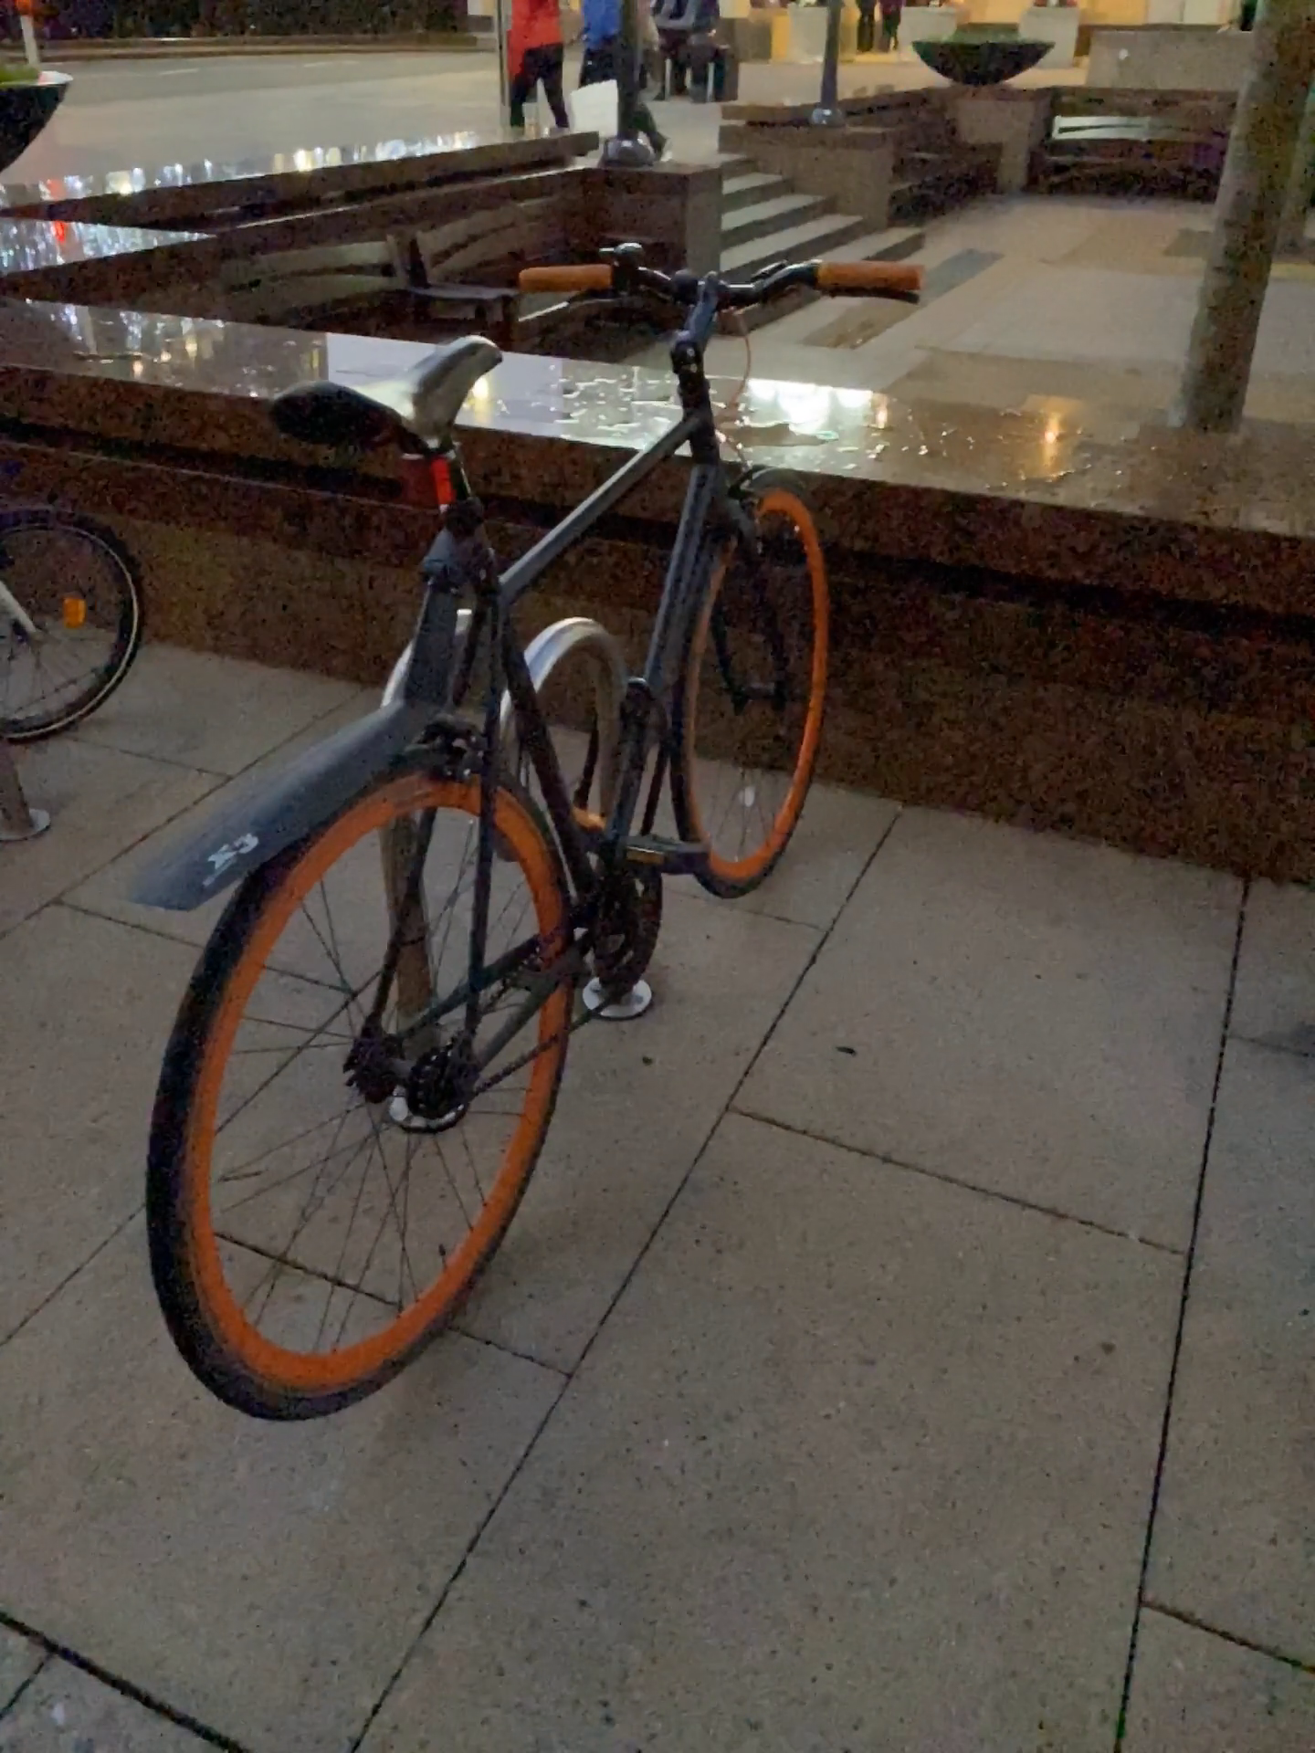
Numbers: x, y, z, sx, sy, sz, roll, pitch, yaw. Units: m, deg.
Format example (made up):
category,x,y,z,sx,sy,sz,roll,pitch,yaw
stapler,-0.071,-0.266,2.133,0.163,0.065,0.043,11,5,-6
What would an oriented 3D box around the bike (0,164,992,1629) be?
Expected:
category,x,y,z,sx,sy,sz,roll,pitch,yaw
bike,-0.094,-0.223,1.666,0.524,0.981,1.647,14,36,21
